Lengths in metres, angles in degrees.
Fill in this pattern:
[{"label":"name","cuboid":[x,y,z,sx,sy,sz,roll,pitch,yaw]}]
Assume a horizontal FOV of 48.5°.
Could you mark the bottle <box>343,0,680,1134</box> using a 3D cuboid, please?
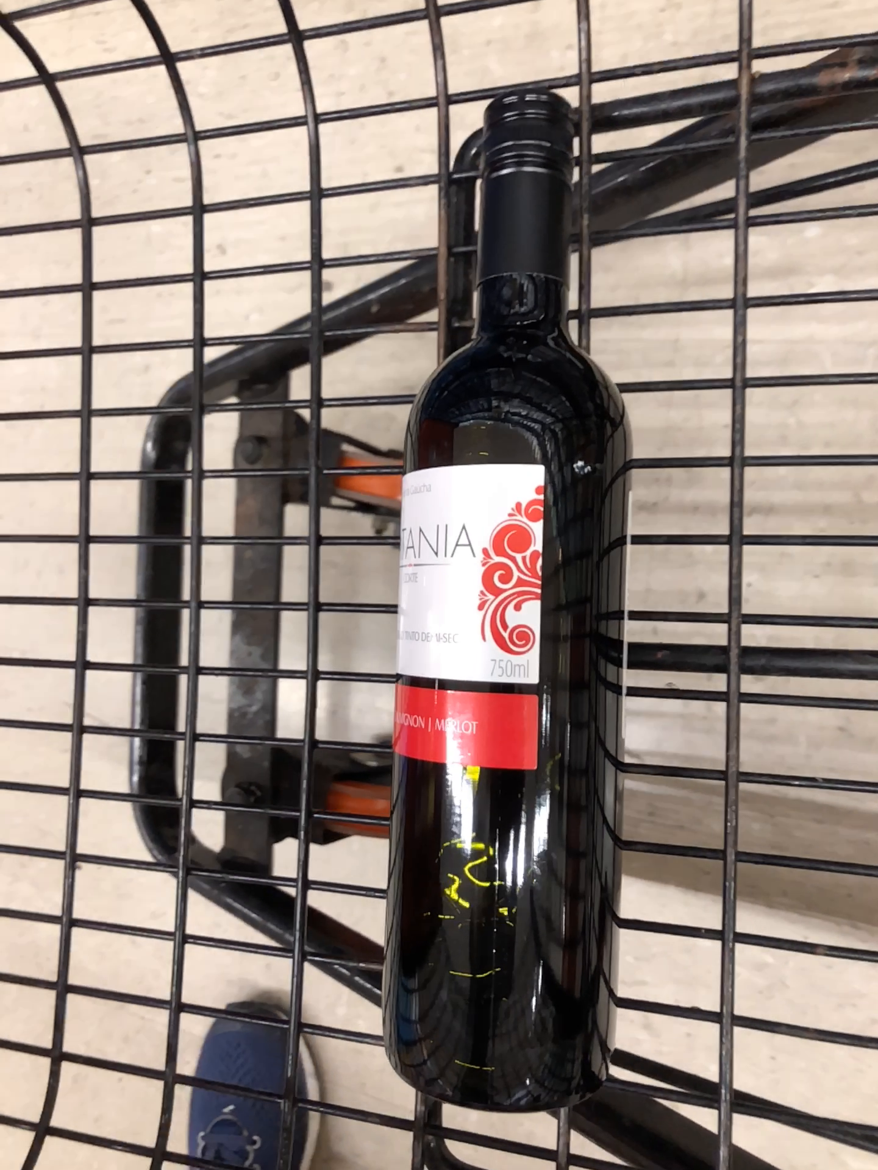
[{"label":"bottle","cuboid":[0.020,-0.010,0.301,0.080,0.070,0.300,176,95,-64]}]
